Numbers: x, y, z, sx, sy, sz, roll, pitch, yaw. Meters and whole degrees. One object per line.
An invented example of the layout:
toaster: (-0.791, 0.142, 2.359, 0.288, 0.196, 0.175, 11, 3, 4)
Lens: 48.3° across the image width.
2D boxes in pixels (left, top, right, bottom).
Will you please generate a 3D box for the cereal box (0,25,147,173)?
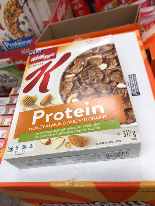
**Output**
cereal box: (-0.014, -0.025, 0.316, 0.200, 0.060, 0.260, -10, 51, 11)
